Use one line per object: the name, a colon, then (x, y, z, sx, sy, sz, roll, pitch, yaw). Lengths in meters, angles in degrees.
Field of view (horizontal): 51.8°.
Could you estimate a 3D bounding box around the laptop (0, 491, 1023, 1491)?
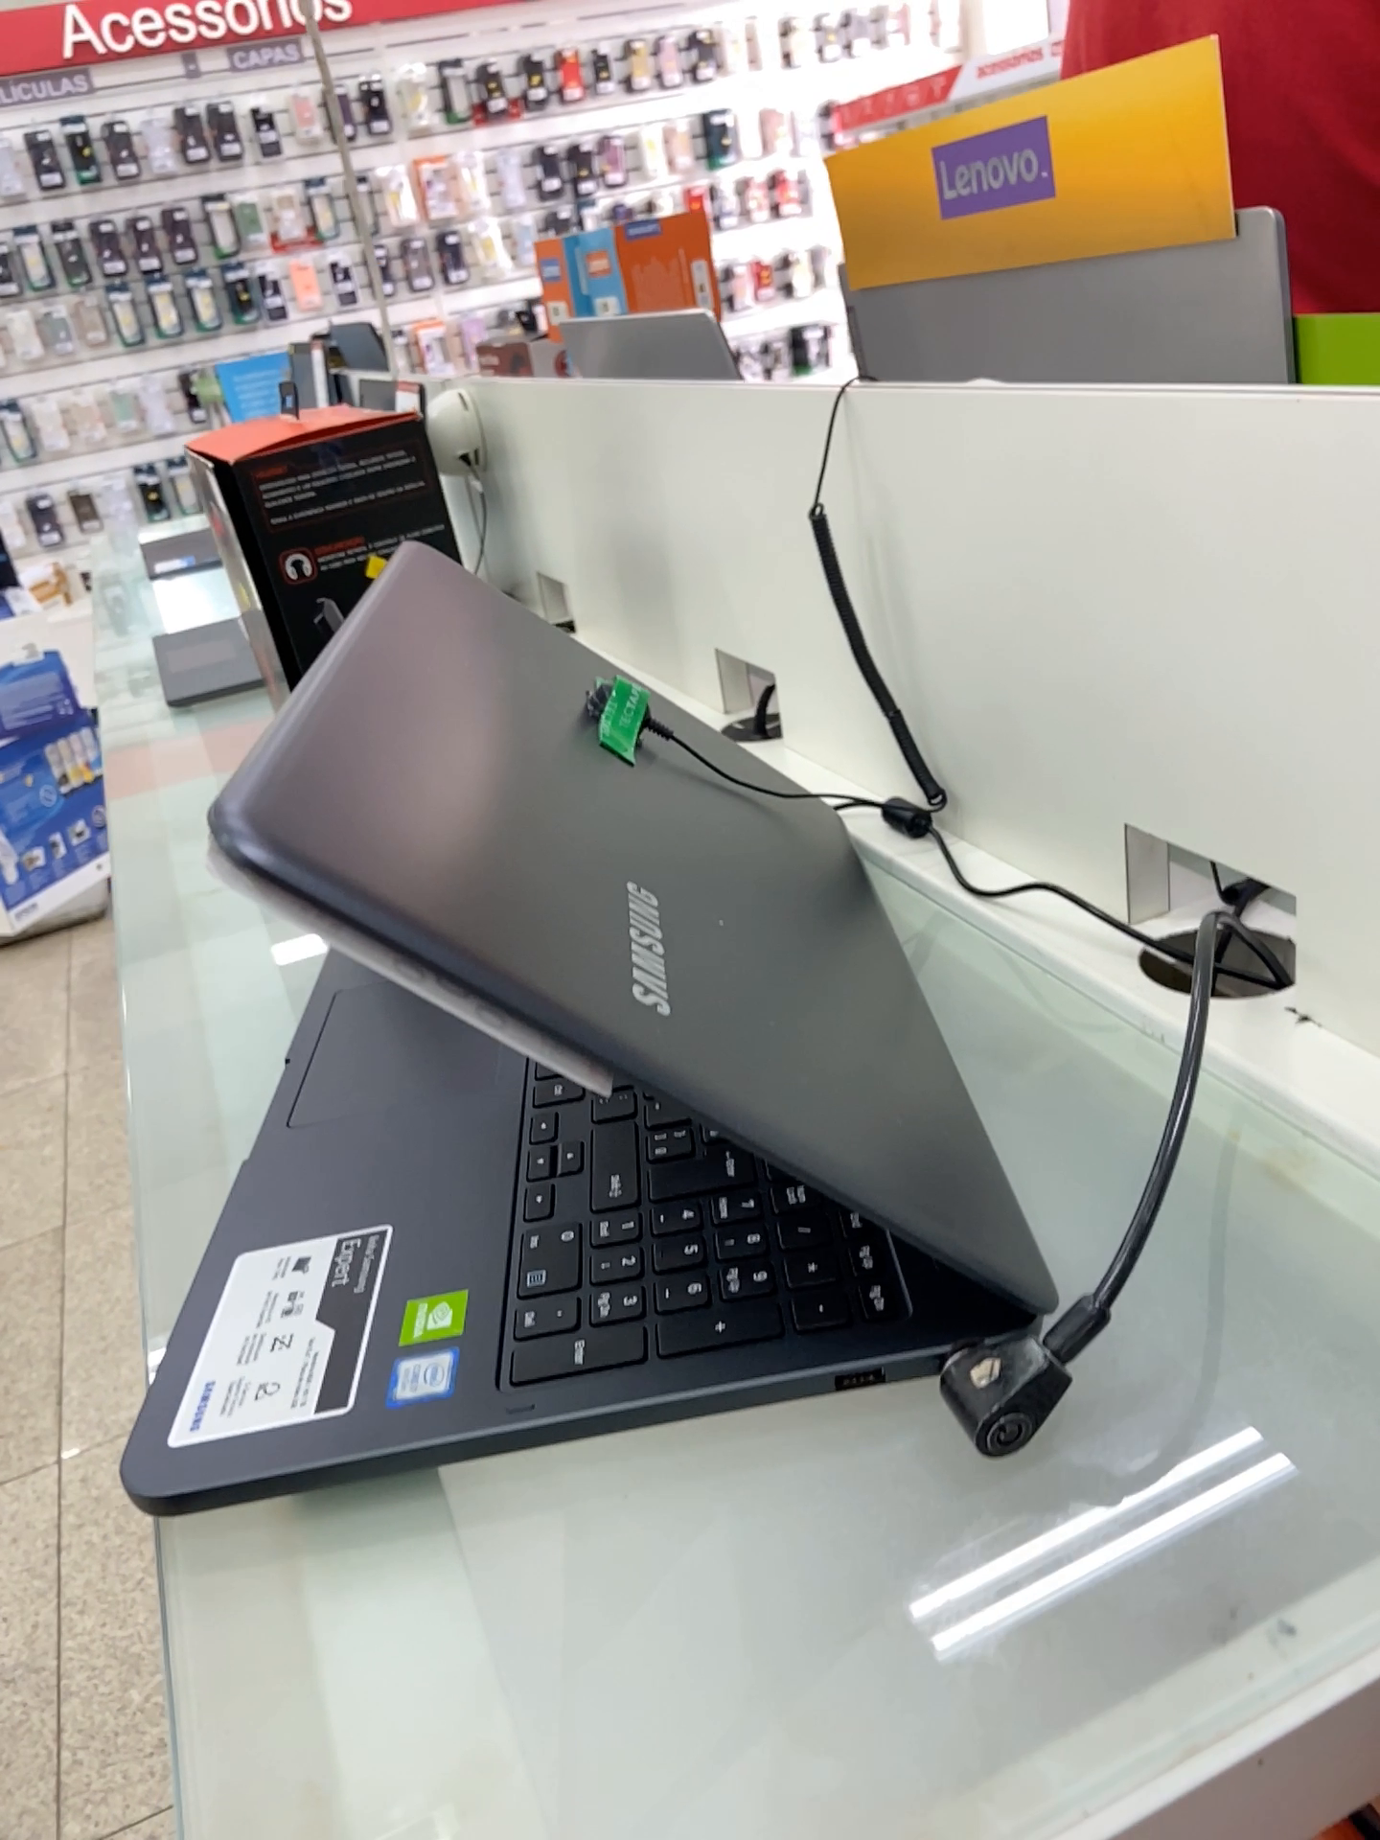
laptop: (-0.057, -0.021, 0.492, 0.231, 0.158, 0.359, -12, 24, 1)
